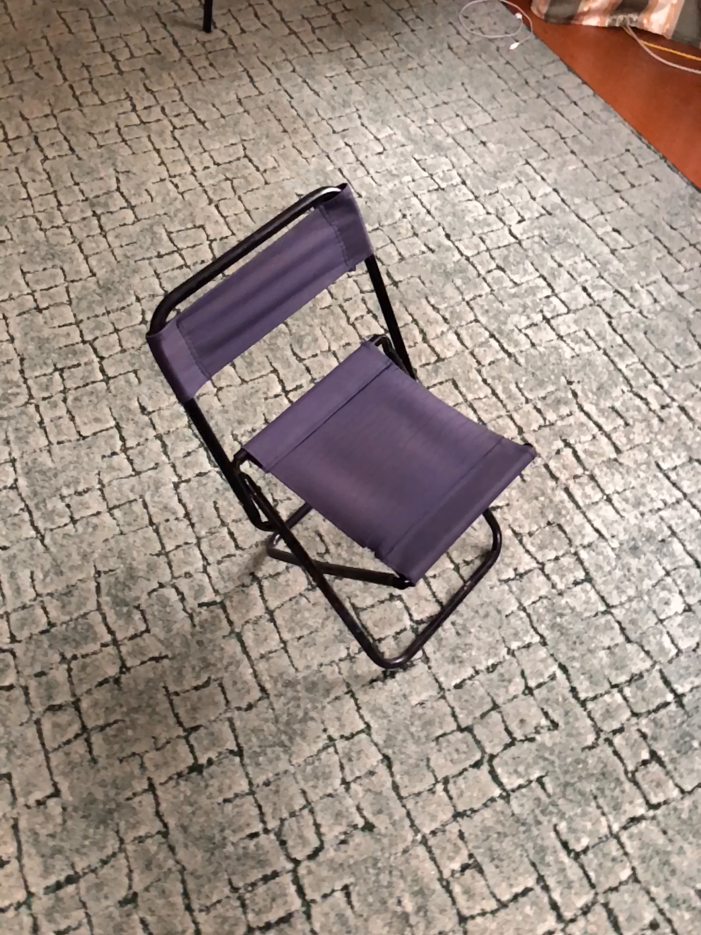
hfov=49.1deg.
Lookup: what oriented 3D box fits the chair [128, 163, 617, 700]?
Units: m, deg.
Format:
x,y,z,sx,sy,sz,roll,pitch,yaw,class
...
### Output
x,y,z,sx,sy,sz,roll,pitch,yaw,class
0.017,-0.018,1.051,0.398,0.537,0.343,37,64,19,chair
